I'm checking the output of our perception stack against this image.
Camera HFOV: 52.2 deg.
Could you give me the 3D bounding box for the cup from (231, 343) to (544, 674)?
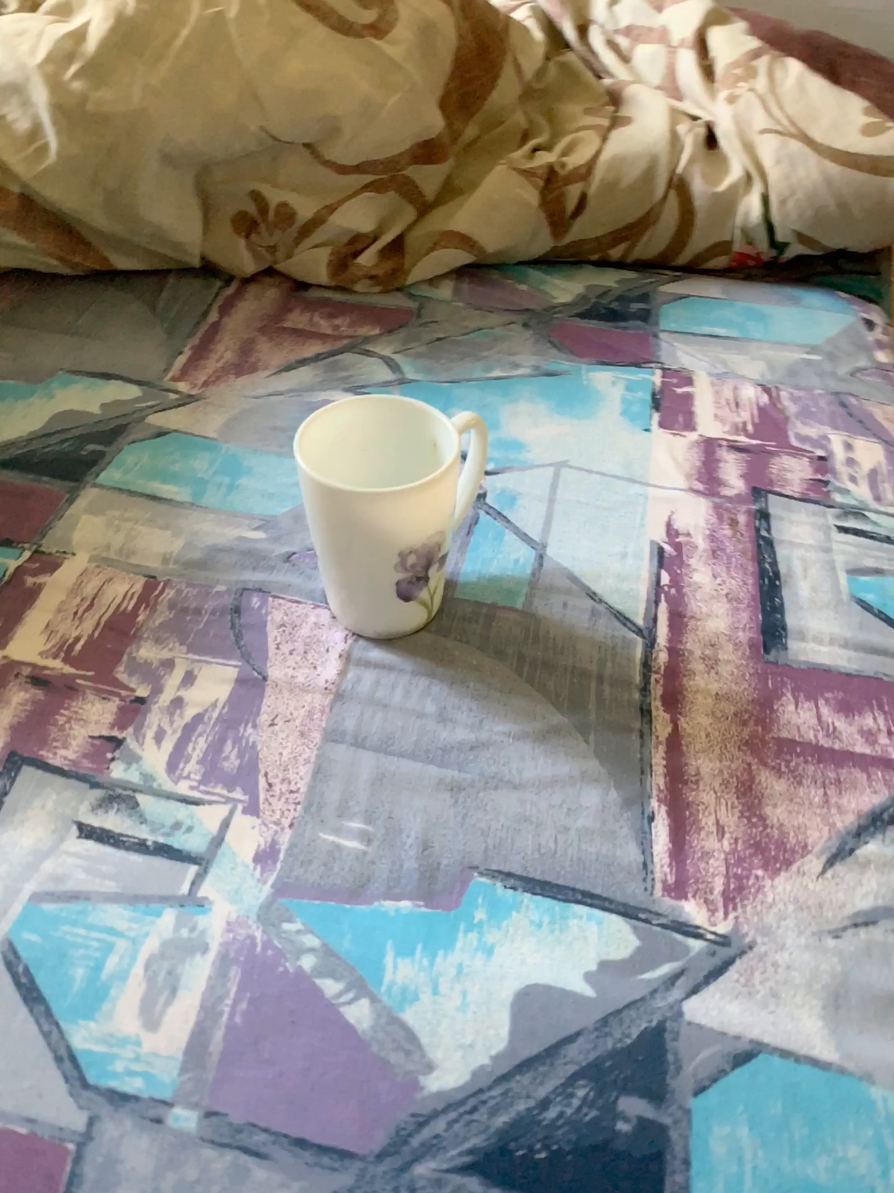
[{"bbox_3d":[-0.029,-0.046,0.458,0.120,0.099,0.080,-30,55,-28],"label":"cup"}]
